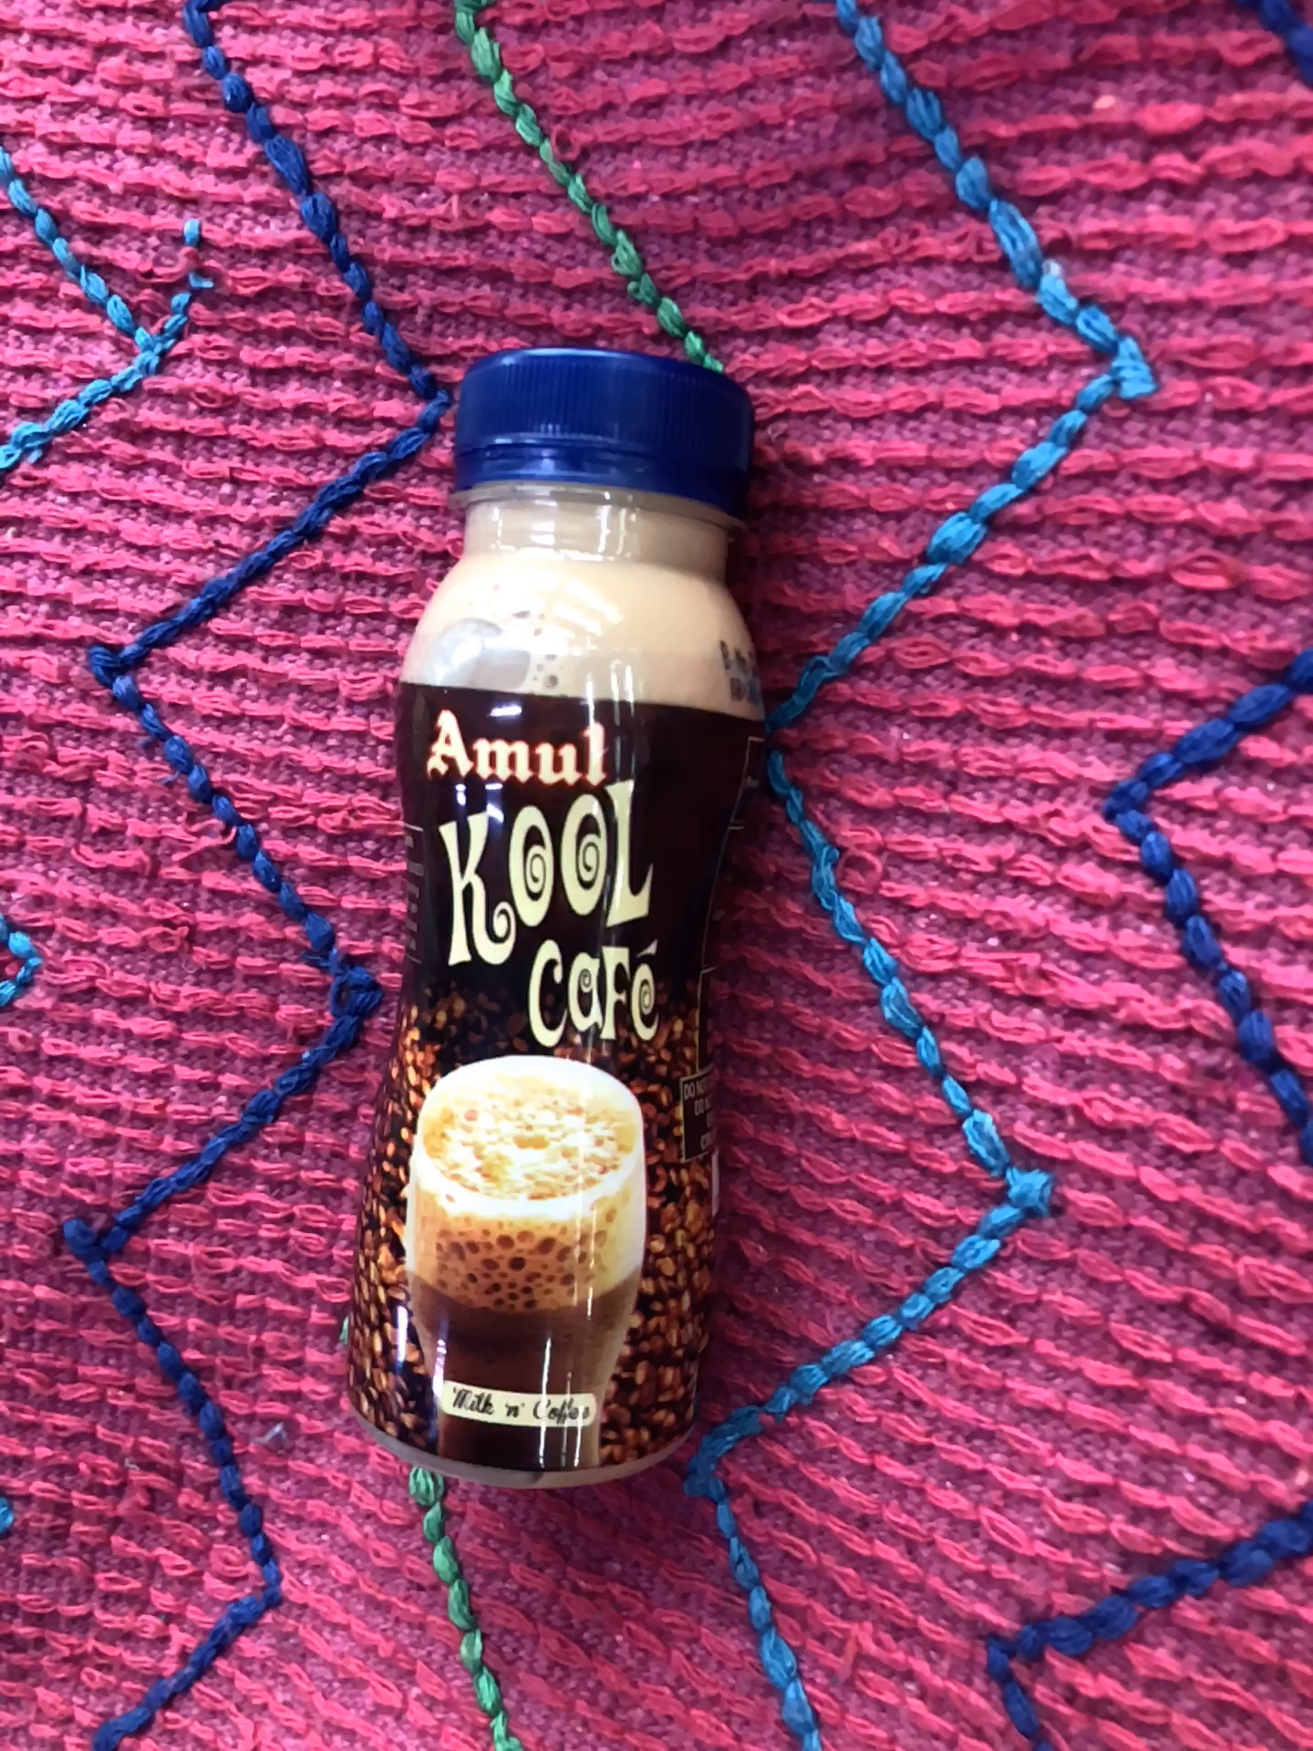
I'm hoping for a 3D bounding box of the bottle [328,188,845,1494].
[{"bbox_3d":[-0.011,-0.003,0.202,0.050,0.060,0.150,4,92,-6],"label":"bottle"}]
